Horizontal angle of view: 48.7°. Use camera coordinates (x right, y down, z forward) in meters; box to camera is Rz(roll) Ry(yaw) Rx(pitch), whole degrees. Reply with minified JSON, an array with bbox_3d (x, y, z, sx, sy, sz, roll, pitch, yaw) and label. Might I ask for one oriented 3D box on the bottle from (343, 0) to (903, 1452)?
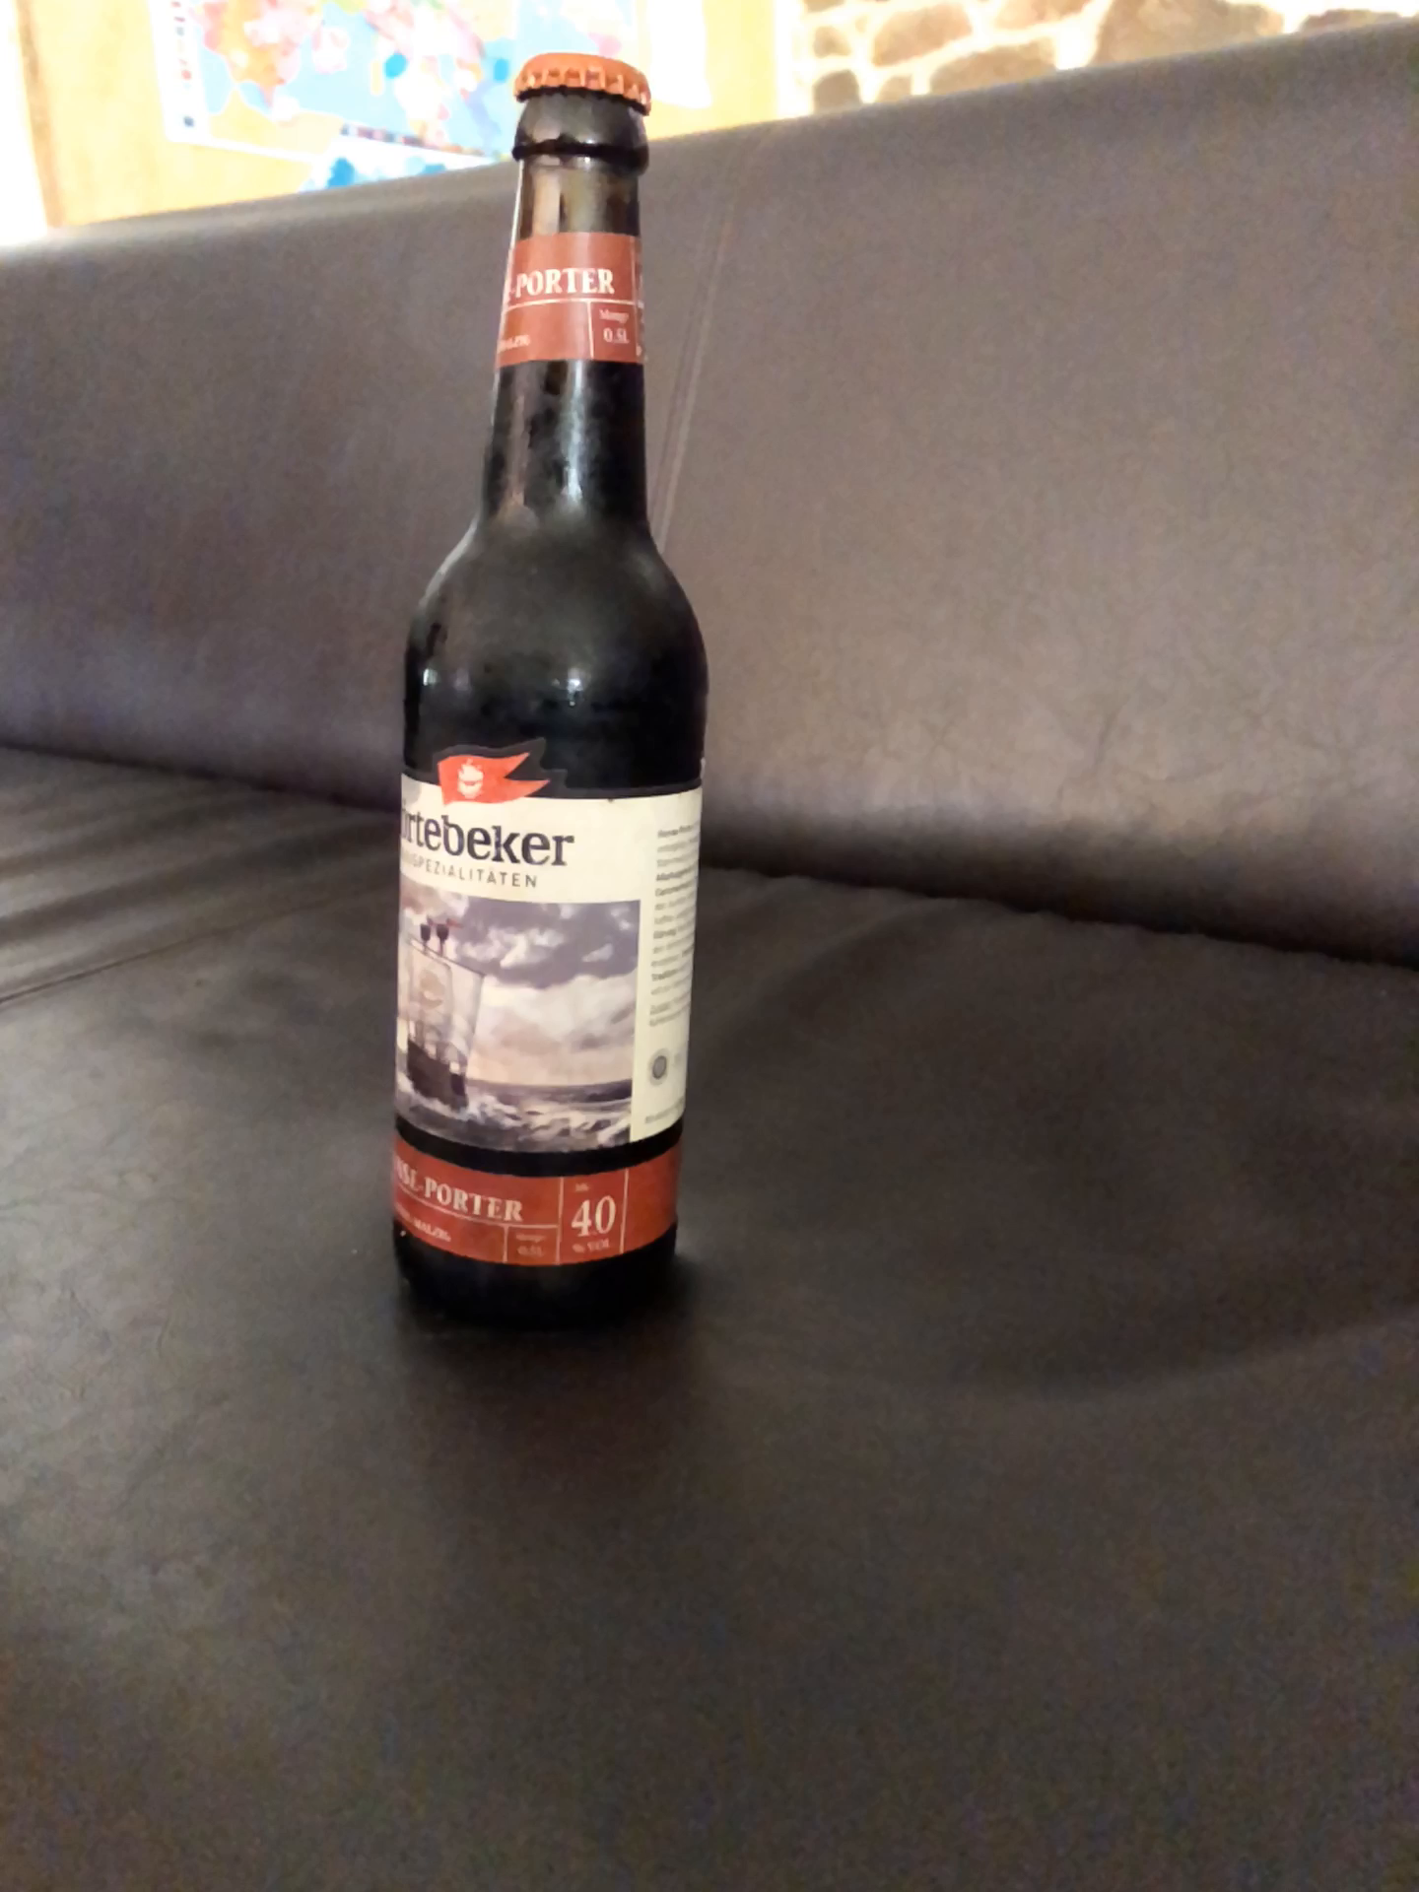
[{"bbox_3d":[-0.022,-0.043,0.348,0.080,0.279,0.080,1,15,0],"label":"bottle"}]
